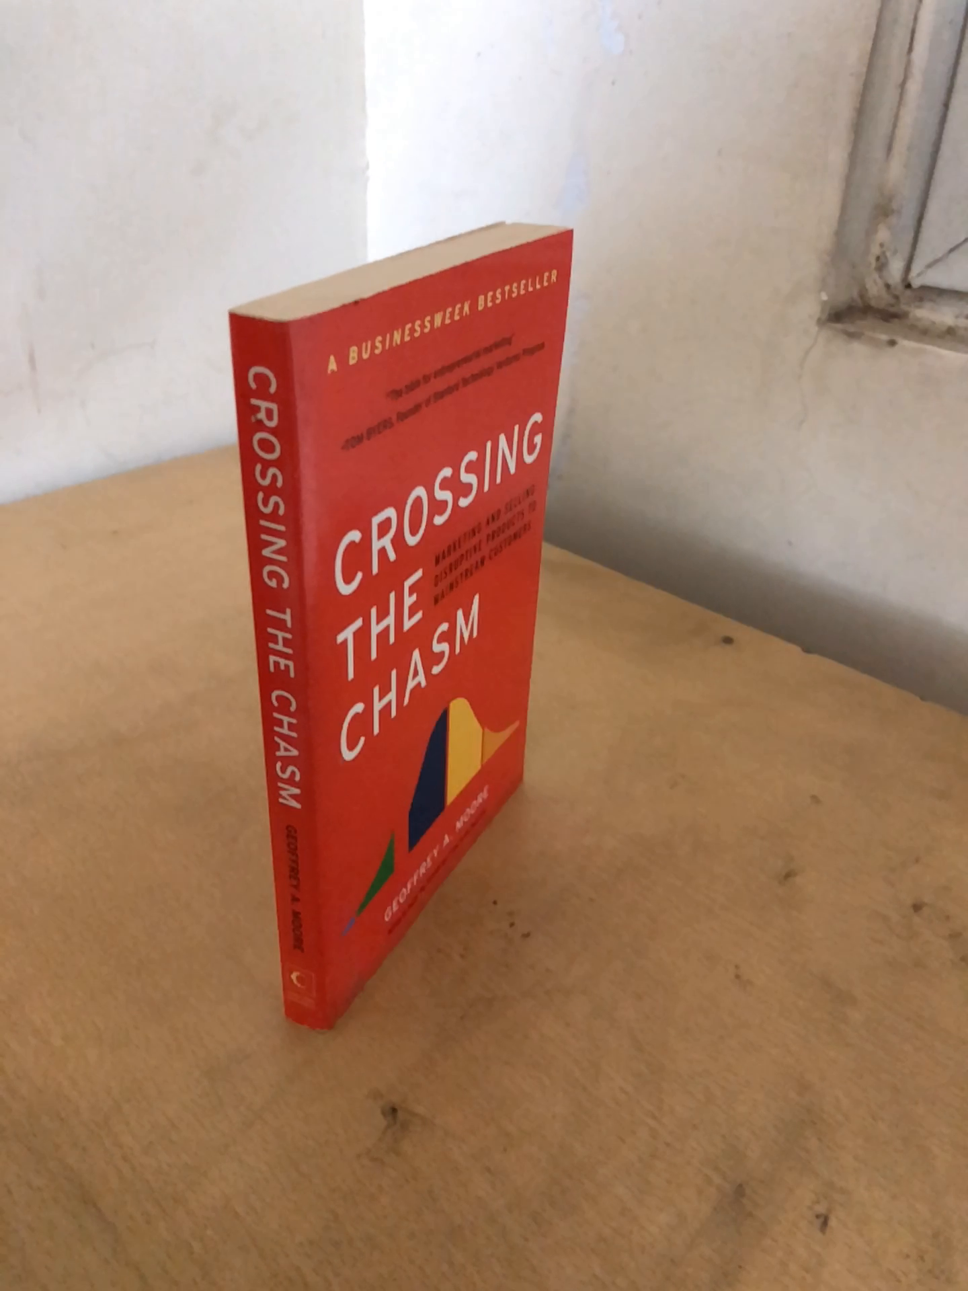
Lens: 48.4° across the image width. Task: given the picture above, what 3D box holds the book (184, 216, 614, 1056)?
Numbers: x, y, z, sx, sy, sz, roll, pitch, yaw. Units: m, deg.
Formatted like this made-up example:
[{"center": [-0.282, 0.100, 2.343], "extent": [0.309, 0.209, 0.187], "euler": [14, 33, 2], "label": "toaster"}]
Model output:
[{"center": [-0.013, -0.010, 0.320], "extent": [0.030, 0.199, 0.161], "euler": [16, 32, 22], "label": "book"}]
